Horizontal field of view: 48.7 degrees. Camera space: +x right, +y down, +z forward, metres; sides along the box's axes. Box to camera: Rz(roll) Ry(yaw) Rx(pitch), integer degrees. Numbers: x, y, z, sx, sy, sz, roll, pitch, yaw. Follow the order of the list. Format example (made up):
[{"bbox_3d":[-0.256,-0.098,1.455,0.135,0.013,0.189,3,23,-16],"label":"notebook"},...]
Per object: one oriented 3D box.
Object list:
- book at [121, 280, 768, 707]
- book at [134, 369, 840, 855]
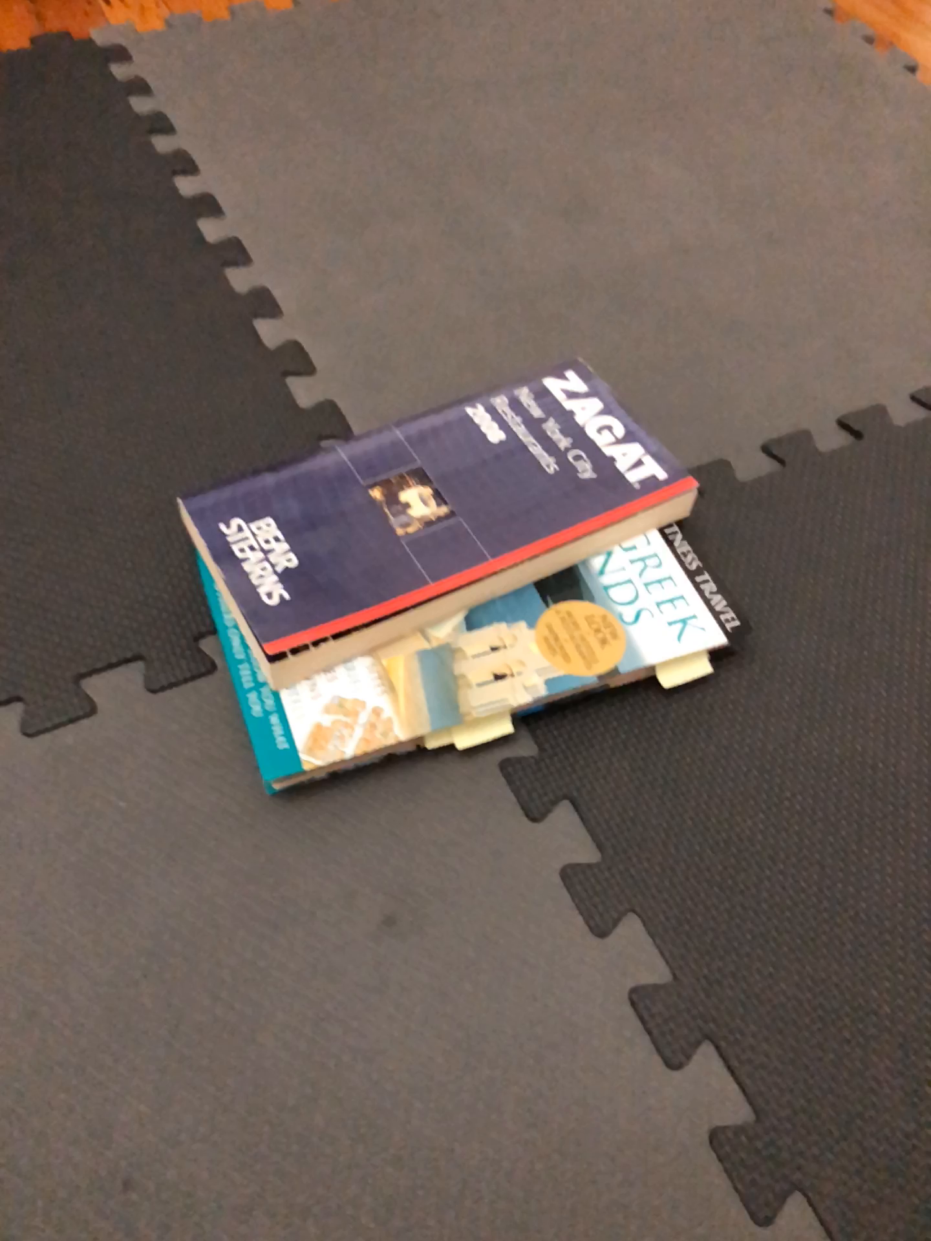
[{"bbox_3d":[-0.009,-0.073,0.471,0.250,0.020,0.151,-23,59,-20],"label":"book"},{"bbox_3d":[0.004,-0.020,0.455,0.260,0.030,0.171,-16,56,-15],"label":"book"}]
